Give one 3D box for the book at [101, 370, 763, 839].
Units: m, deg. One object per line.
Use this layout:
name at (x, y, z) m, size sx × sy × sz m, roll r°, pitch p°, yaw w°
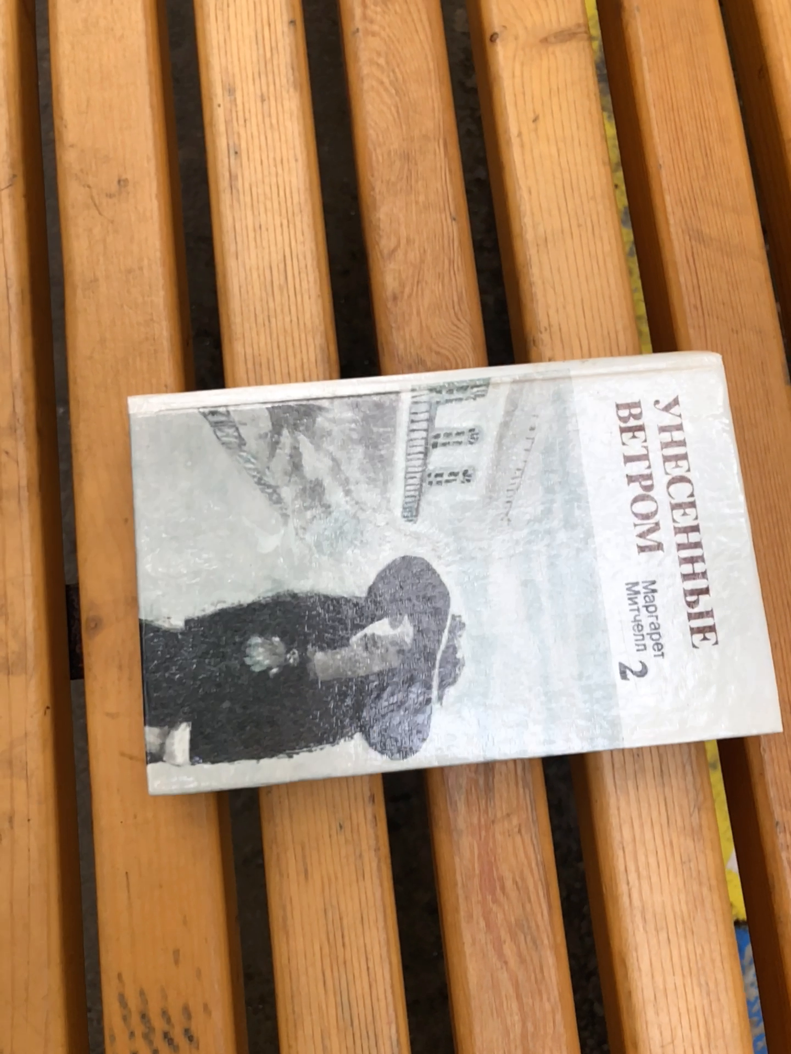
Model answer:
book at (0.009, 0.025, 0.311) m, size 0.210 × 0.030 × 0.140 m, roll -5°, pitch 81°, yaw -1°
